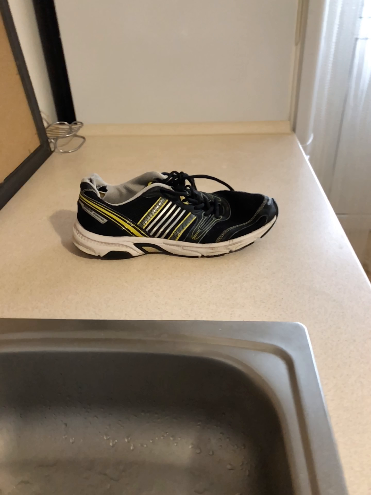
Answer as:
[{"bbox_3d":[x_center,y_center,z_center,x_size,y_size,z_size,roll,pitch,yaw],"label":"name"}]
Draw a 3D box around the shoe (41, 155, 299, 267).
[{"bbox_3d":[-0.018,-0.052,0.563,0.310,0.099,0.111,-3,34,1],"label":"shoe"}]
